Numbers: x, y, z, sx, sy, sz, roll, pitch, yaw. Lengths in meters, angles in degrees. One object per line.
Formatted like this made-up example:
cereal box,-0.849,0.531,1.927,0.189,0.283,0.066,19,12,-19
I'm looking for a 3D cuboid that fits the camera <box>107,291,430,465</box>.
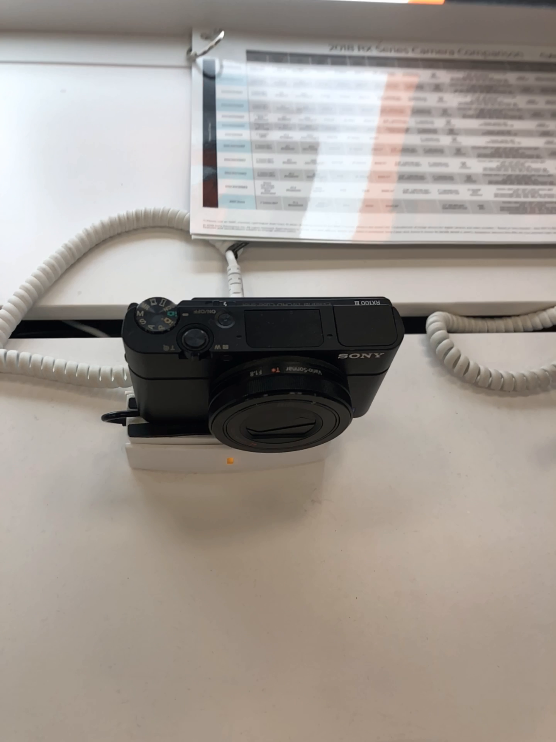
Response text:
camera,-0.006,0.004,0.246,0.110,0.060,0.040,-2,58,-7
